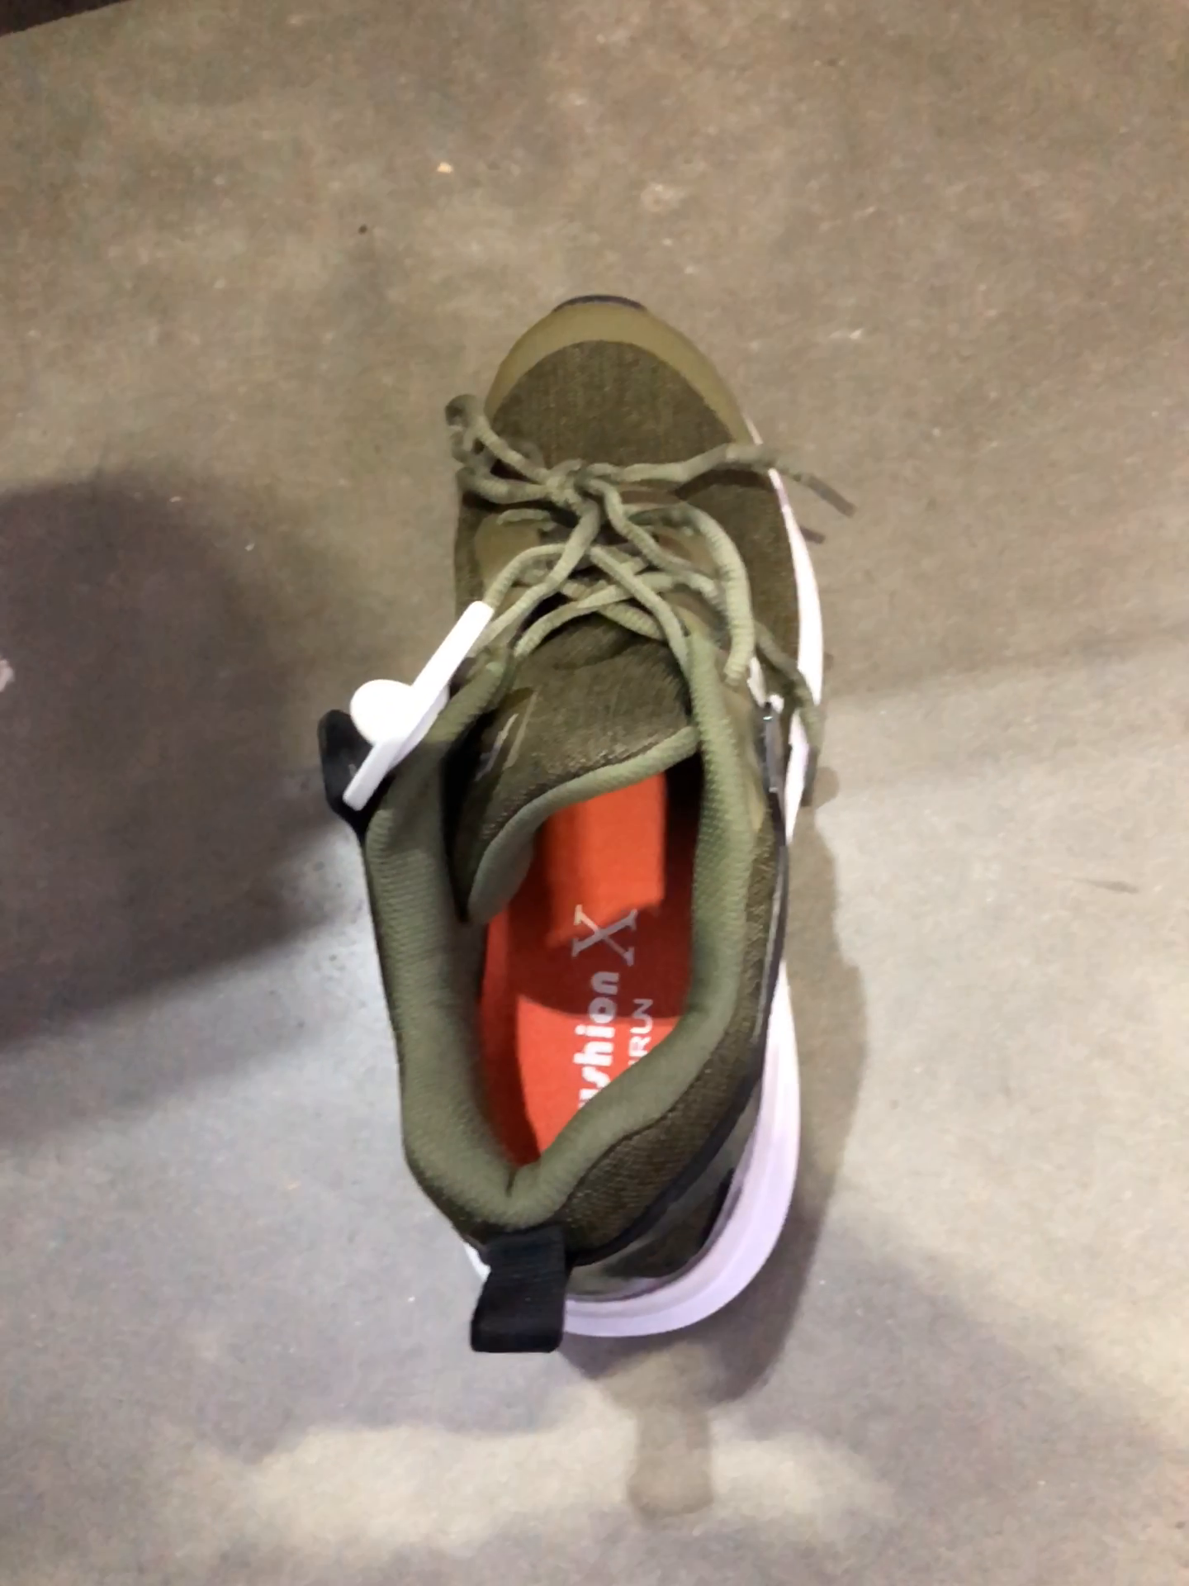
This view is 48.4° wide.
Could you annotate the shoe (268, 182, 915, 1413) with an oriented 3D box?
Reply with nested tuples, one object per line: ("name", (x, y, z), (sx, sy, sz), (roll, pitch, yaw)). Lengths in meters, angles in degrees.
("shoe", (0.006, -0.004, 0.343), (0.120, 0.100, 0.291), (-1, 68, 6))
